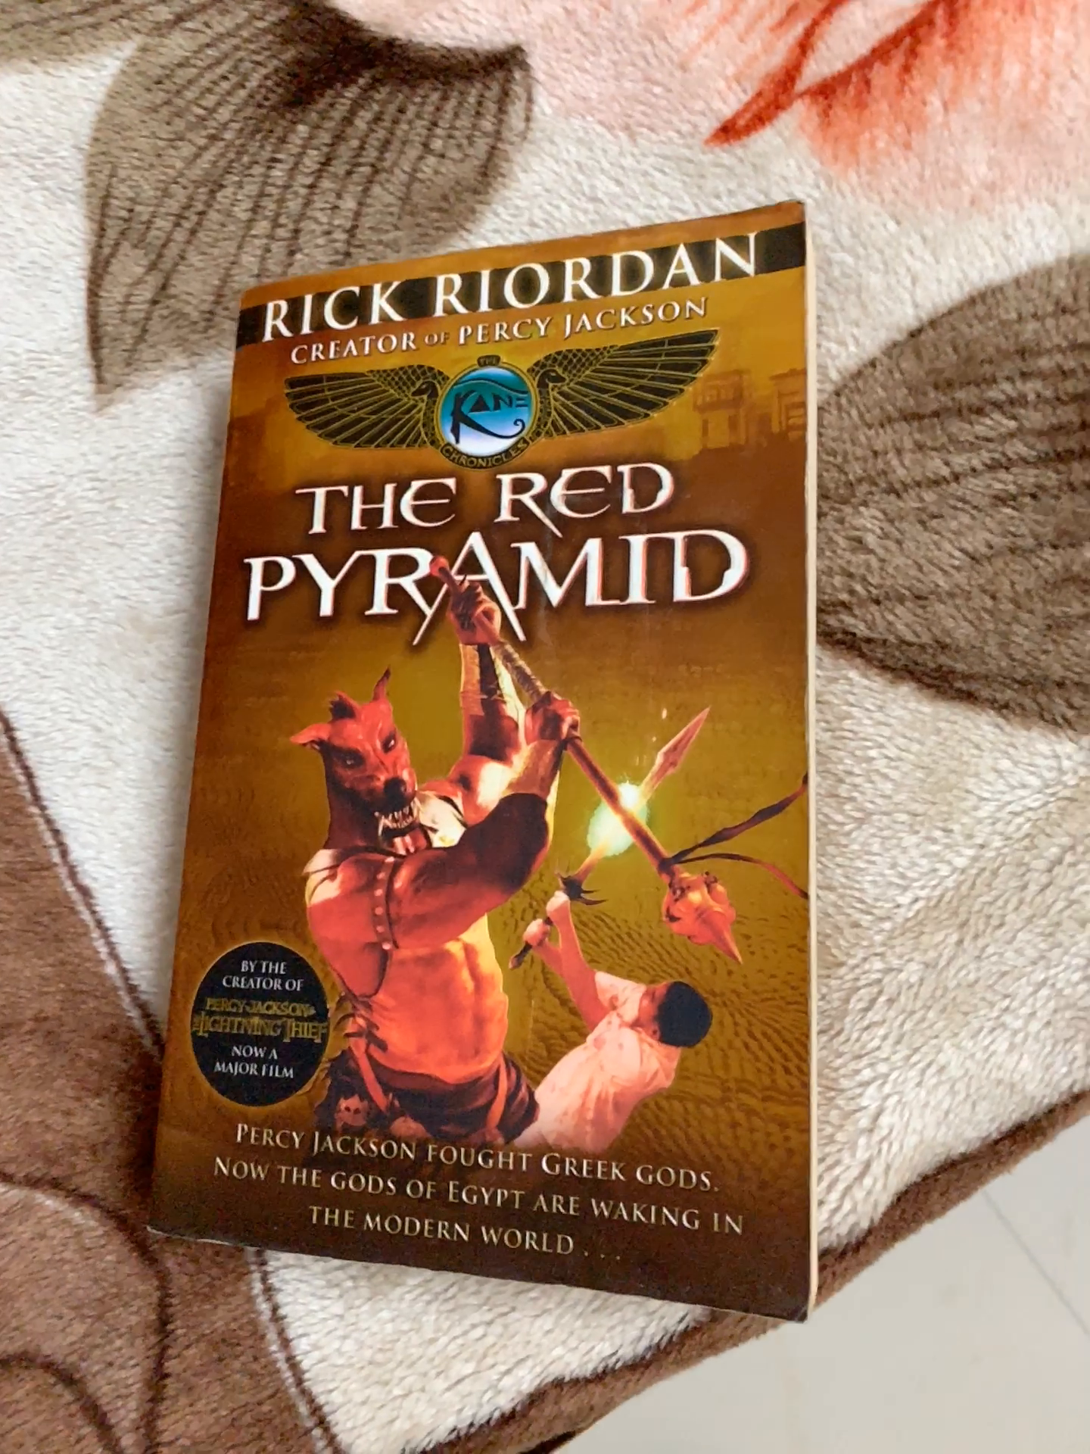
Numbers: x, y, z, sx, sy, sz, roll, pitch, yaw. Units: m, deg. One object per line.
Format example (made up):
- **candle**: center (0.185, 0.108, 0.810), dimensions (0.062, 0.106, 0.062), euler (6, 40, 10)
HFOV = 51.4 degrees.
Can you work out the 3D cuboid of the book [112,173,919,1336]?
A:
- **book**: center (-0.003, -0.002, 0.247), dimensions (0.150, 0.040, 0.220), euler (-1, 77, 13)
